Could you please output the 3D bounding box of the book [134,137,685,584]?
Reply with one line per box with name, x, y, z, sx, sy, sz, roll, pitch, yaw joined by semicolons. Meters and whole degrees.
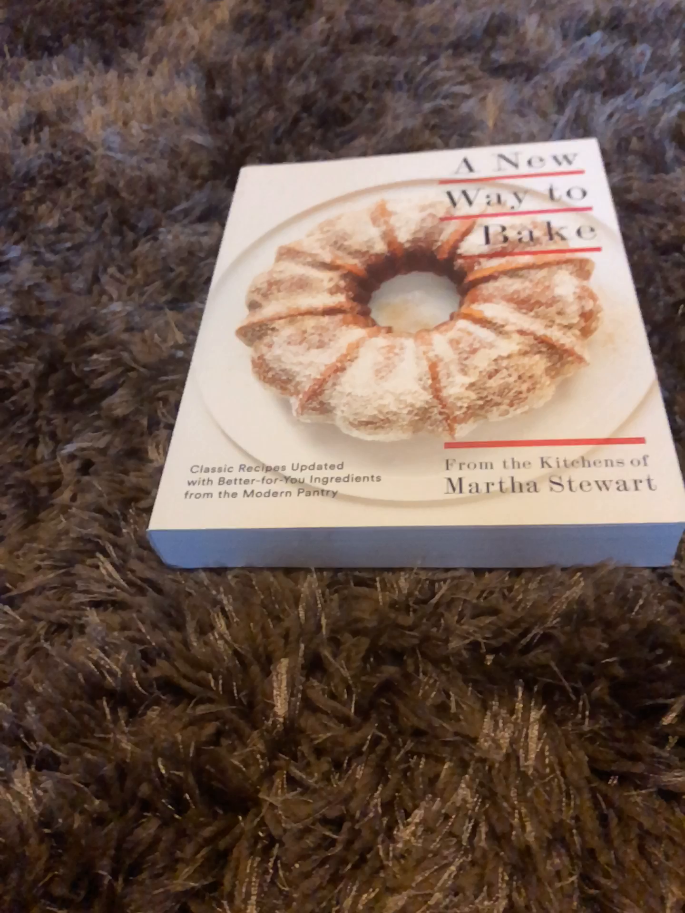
book;0.030;-0.055;0.344;0.192;0.040;0.230;-2;52;7
